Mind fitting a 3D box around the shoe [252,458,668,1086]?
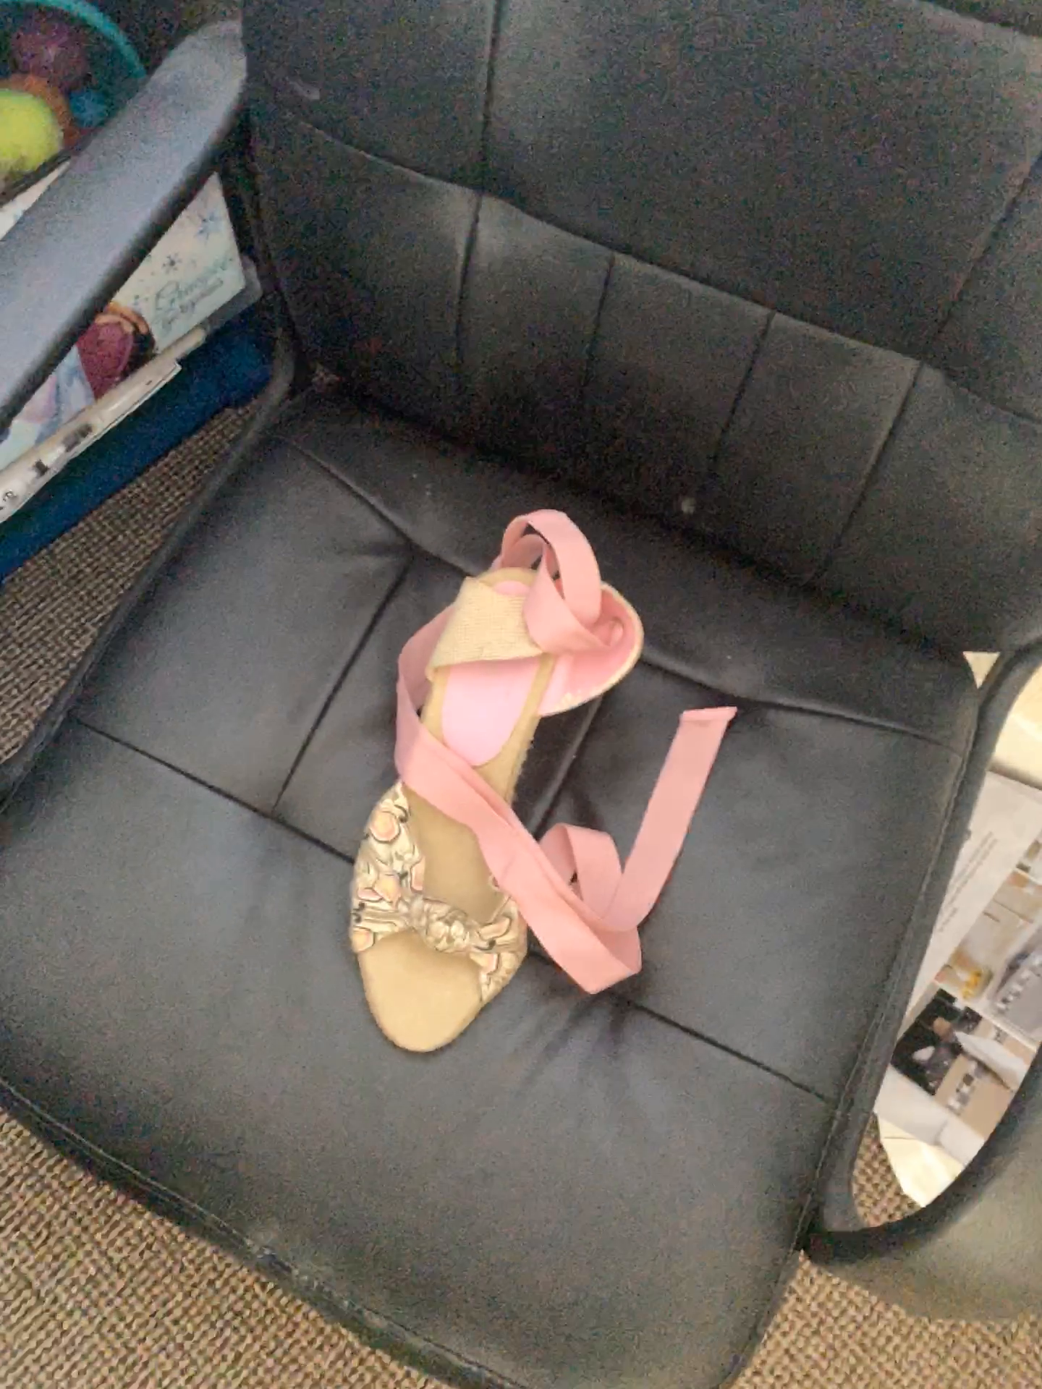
[{"bbox_3d":[-0.022,0.043,0.539,0.100,0.139,0.271,18,71,4],"label":"shoe"}]
